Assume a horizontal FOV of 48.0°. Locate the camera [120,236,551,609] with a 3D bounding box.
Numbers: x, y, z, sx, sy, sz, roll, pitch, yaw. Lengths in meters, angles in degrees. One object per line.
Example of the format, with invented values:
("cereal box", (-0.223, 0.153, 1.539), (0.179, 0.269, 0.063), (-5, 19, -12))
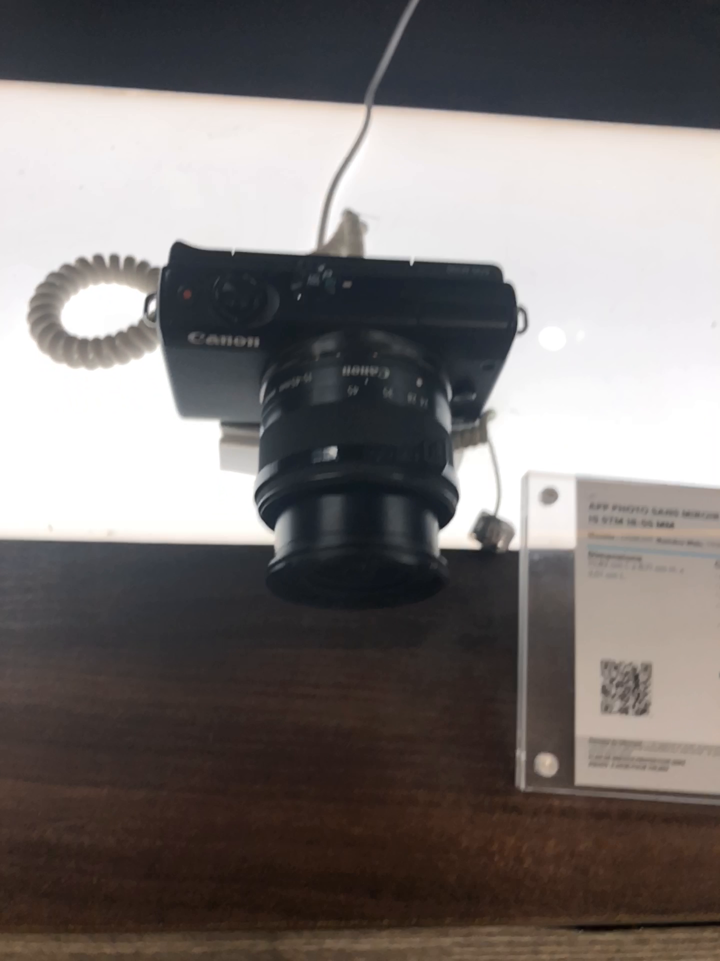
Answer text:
("camera", (-0.008, -0.016, 0.264), (0.112, 0.071, 0.094), (2, 60, -4))
